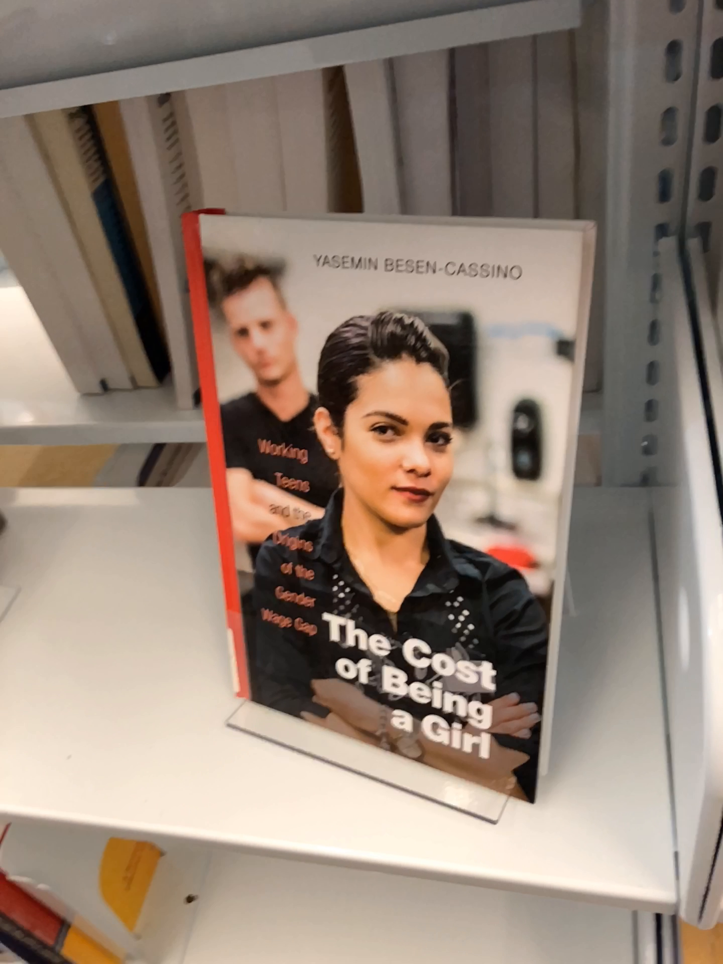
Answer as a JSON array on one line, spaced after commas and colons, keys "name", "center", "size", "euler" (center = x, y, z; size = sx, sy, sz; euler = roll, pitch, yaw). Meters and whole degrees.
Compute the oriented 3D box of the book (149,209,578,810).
[{"name": "book", "center": [-0.002, 0.011, 0.330], "size": [0.157, 0.230, 0.030], "euler": [11, 27, 27]}]
